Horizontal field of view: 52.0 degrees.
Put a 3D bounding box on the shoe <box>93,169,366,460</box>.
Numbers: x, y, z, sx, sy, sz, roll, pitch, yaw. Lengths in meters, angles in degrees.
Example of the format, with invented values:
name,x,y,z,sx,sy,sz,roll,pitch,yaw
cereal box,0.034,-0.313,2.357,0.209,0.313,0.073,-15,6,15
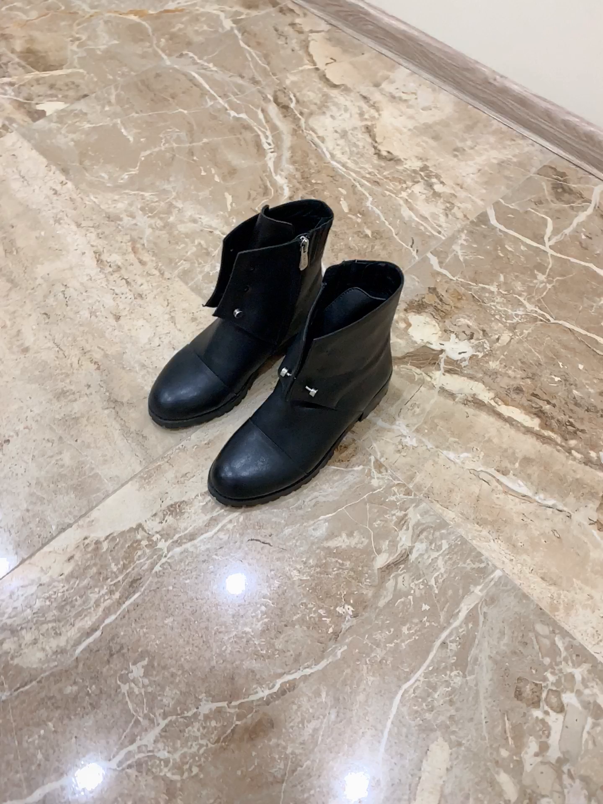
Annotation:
name,x,y,z,sx,sy,sz,roll,pitch,yaw
shoe,-0.061,-0.086,0.659,0.250,0.199,0.090,-38,67,-19

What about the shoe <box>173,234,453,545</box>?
name,x,y,z,sx,sy,sz,roll,pitch,yaw
shoe,0.015,-0.007,0.614,0.090,0.199,0.250,41,66,21
